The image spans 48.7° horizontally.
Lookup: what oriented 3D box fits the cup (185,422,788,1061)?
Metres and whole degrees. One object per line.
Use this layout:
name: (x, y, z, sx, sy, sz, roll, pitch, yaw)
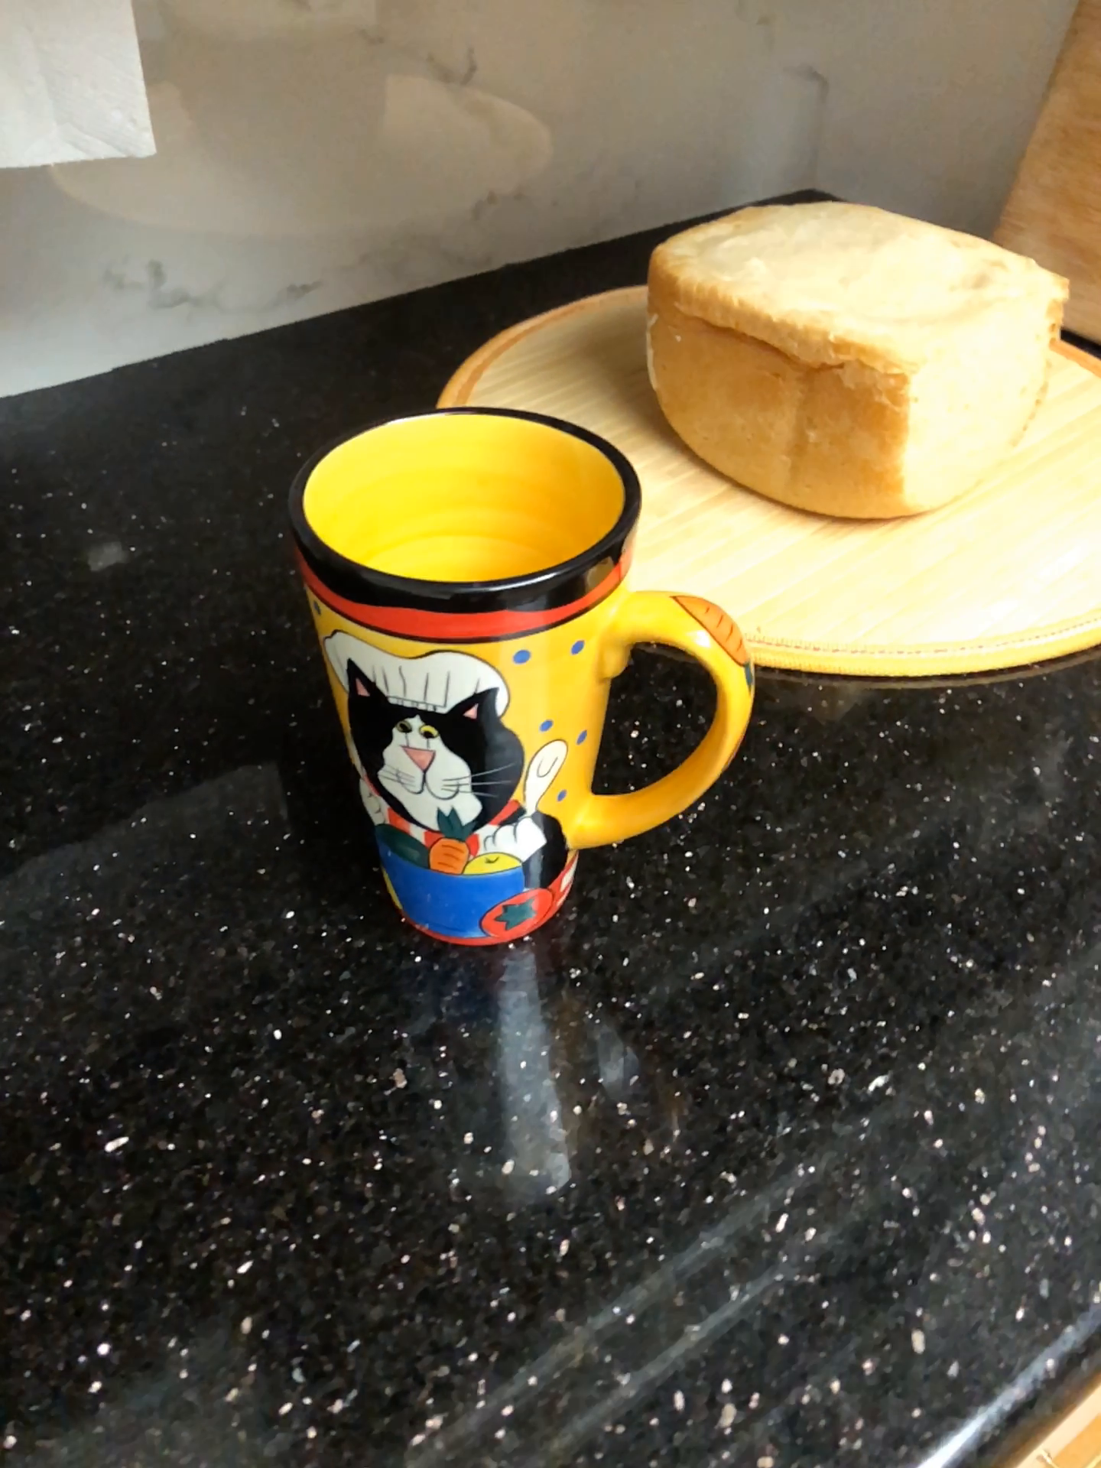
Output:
cup: (-0.010, 0.002, 0.347, 0.130, 0.139, 0.090, 8, 42, 10)
